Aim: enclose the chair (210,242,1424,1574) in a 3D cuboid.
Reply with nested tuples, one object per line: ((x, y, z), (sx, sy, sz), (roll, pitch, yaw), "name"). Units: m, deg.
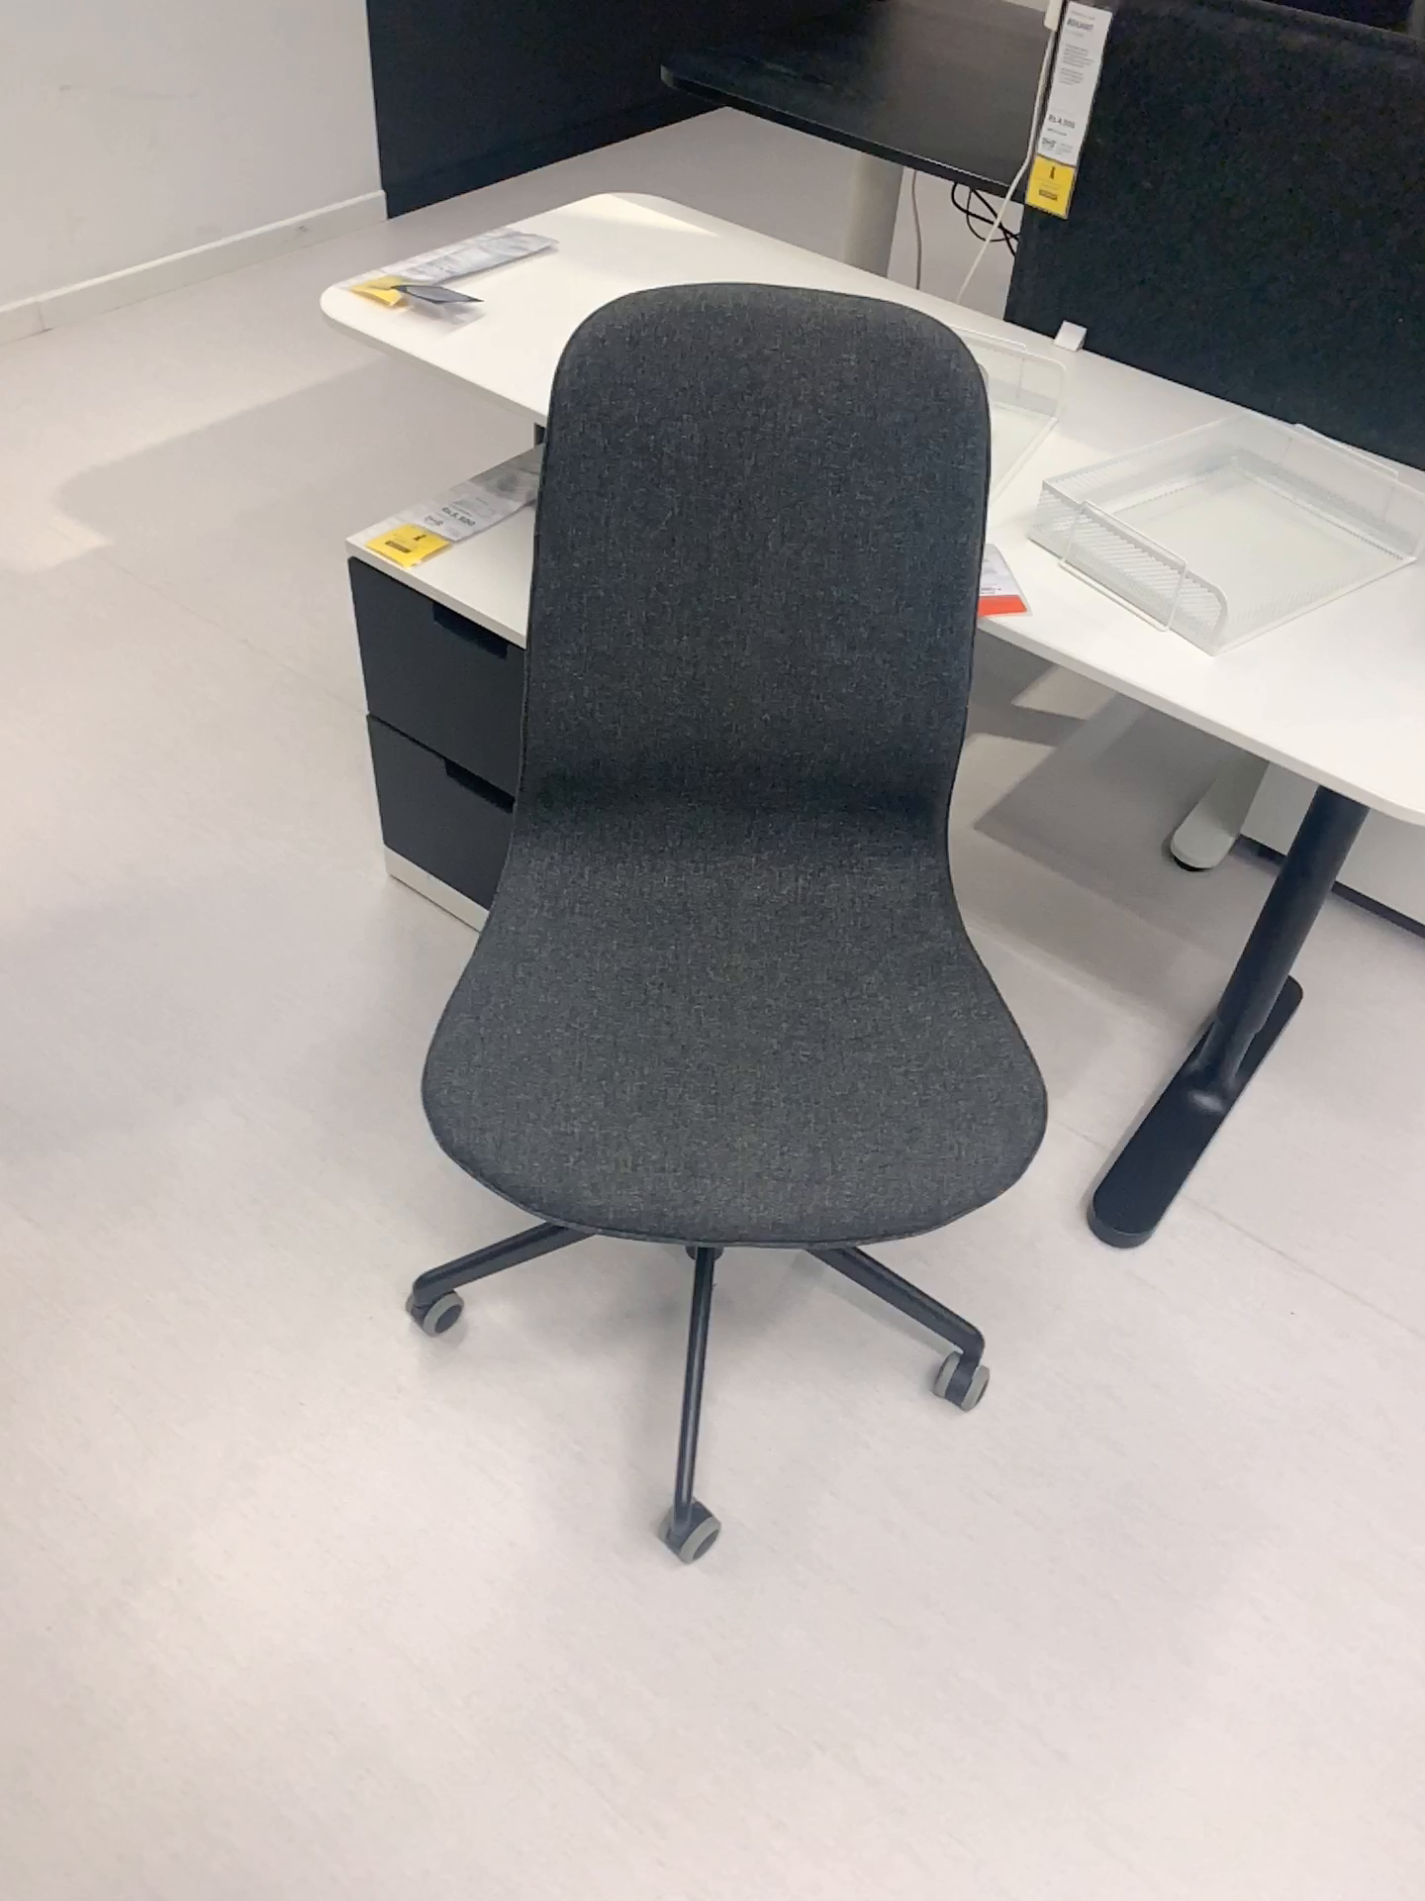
((0.015, 0.020, 1.300), (0.630, 0.996, 0.643), (0, 45, -6), "chair")
